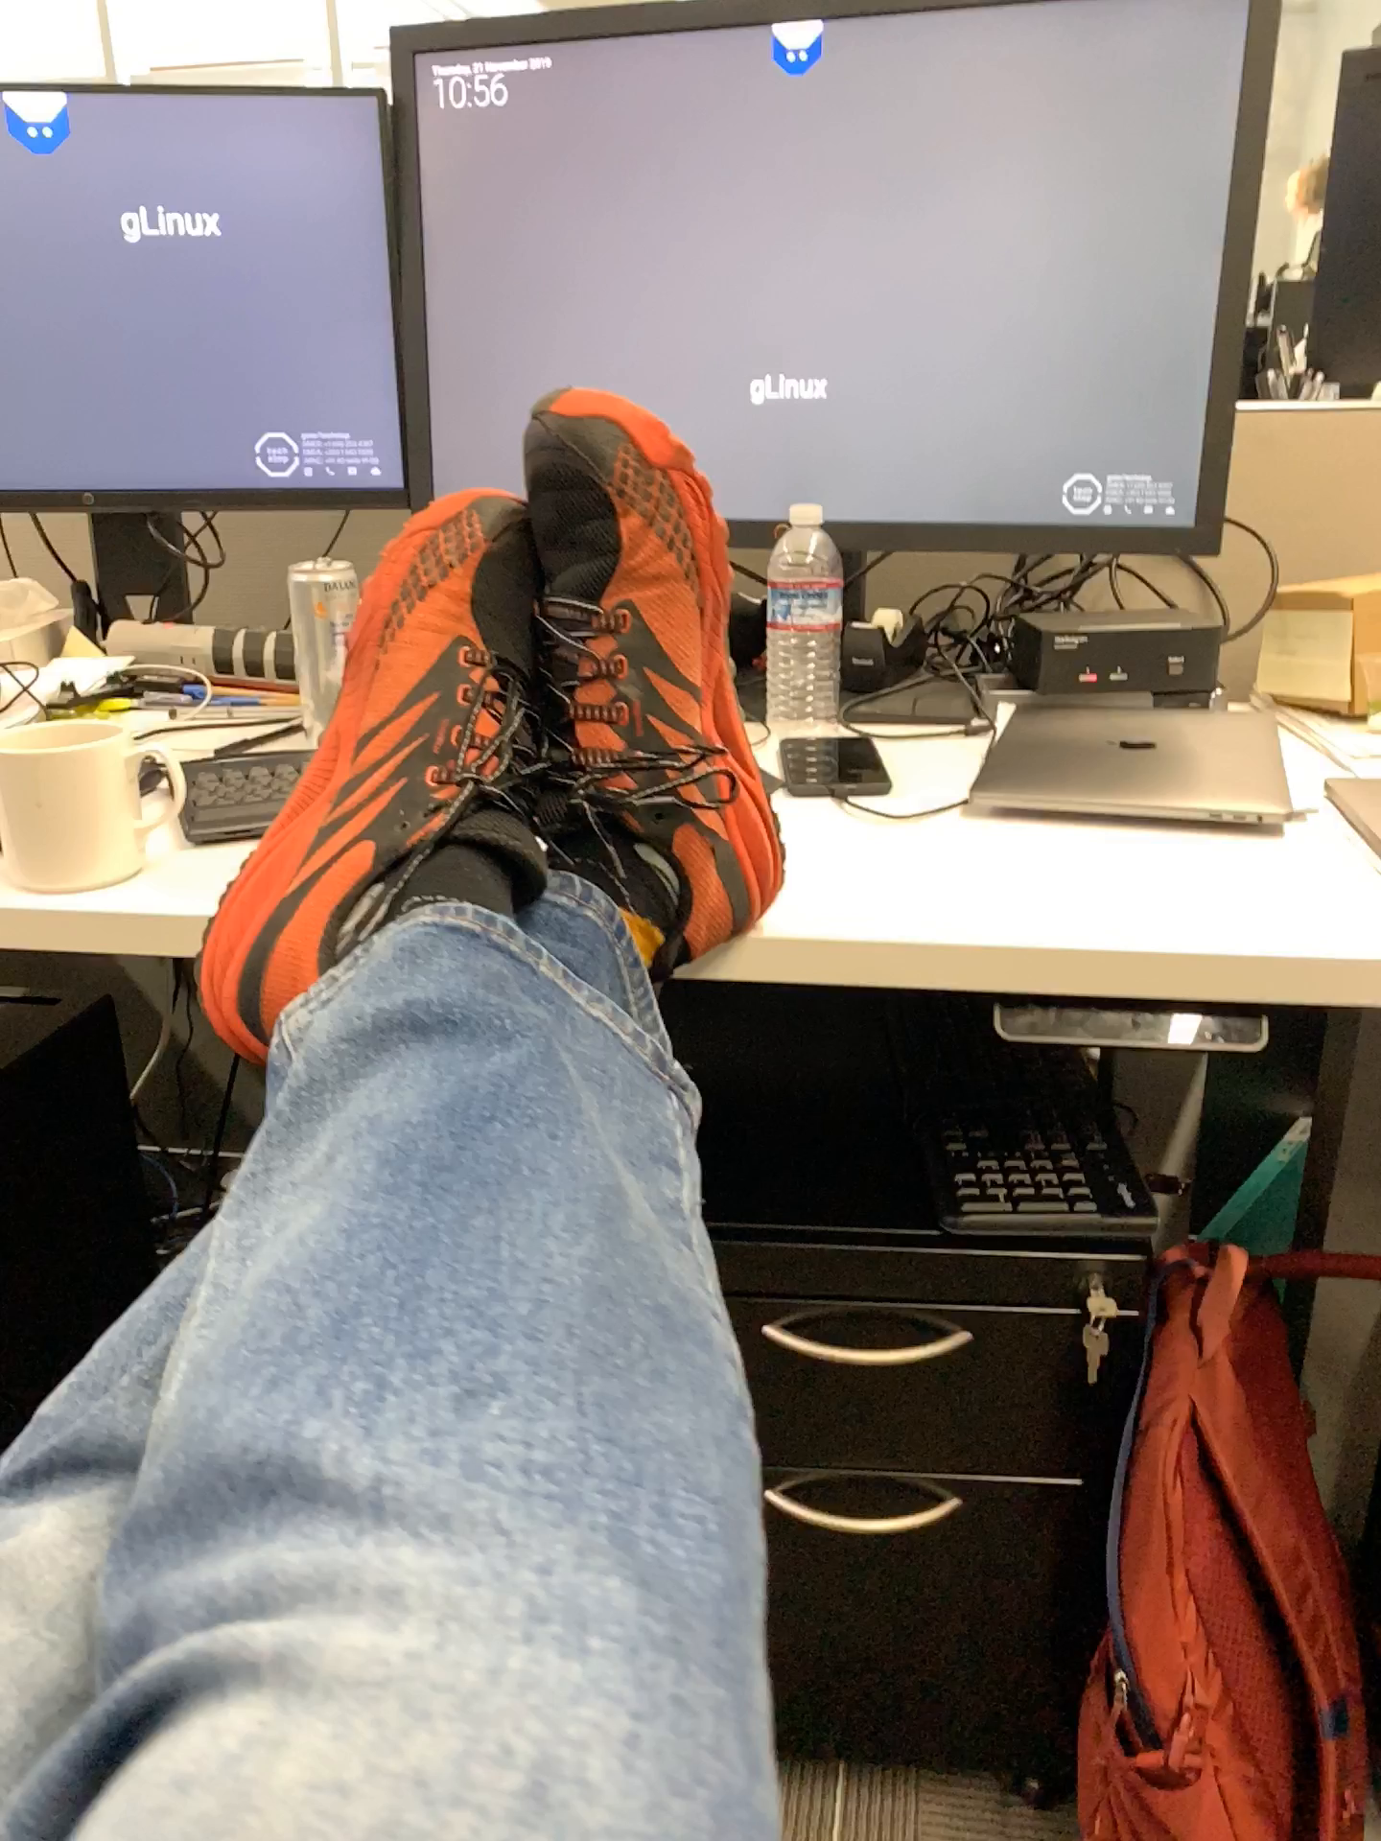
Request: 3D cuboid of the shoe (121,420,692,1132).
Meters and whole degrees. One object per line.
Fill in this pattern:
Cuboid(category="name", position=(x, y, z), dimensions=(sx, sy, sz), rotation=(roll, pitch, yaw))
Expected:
Cuboid(category="shoe", position=(-0.127, -0.071, 0.638), dimensions=(0.133, 0.289, 0.091), rotation=(16, -9, 41))

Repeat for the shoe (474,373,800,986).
Cuboid(category="shoe", position=(-0.021, -0.118, 0.694), dimensions=(0.107, 0.271, 0.082), rotation=(12, 26, 38))
